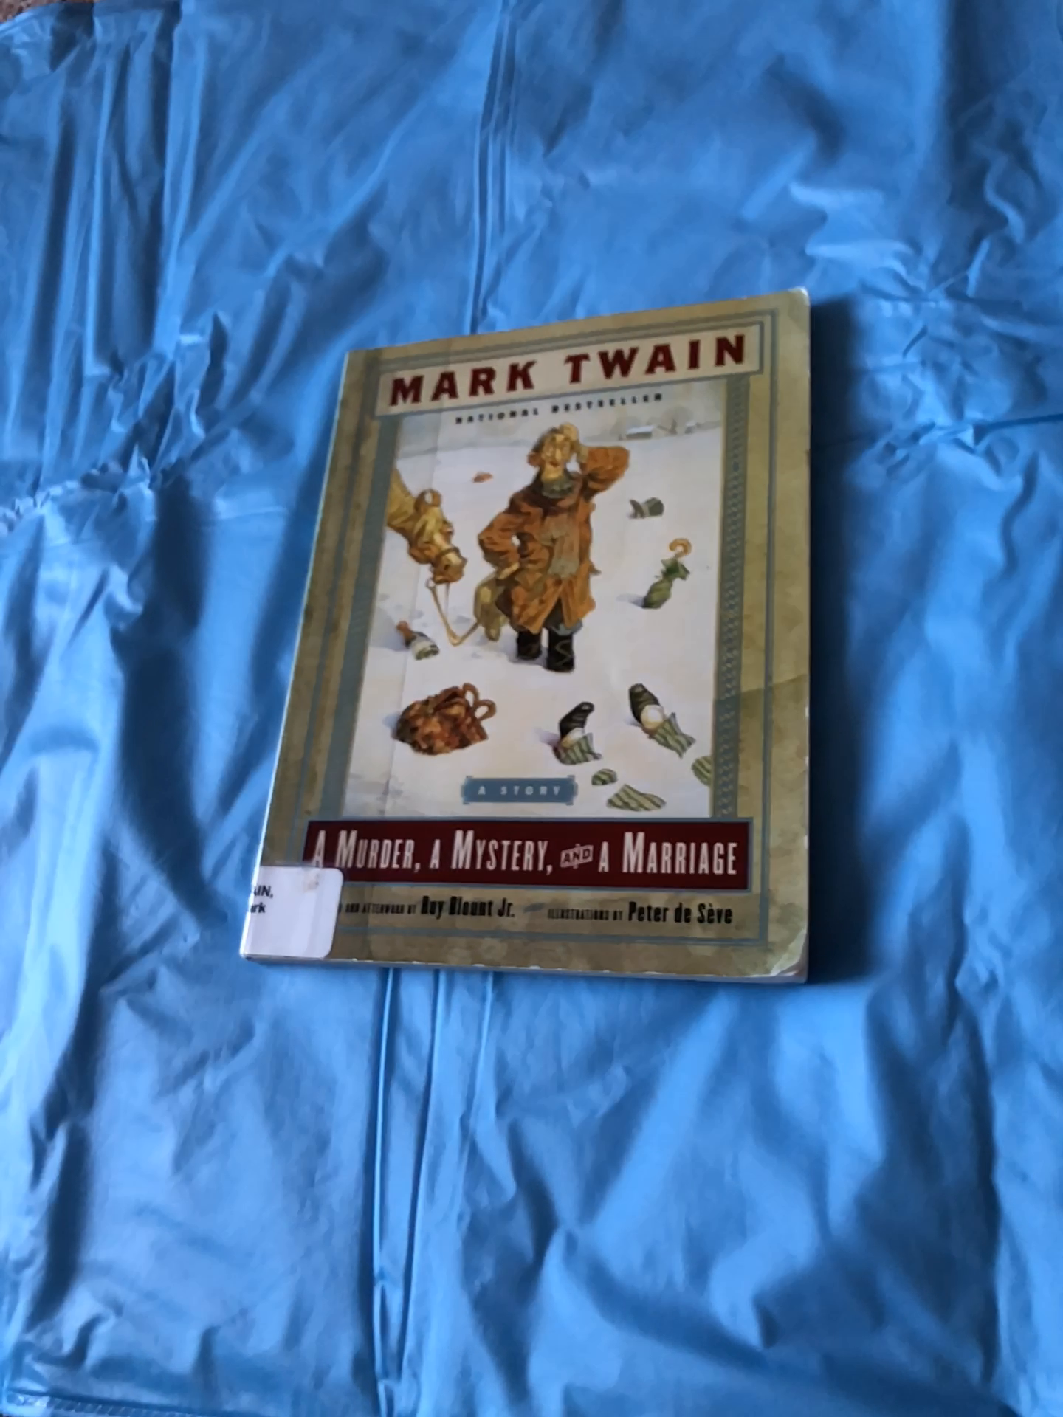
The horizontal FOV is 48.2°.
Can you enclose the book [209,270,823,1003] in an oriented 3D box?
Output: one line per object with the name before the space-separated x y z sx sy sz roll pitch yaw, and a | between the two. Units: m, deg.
book | 0.001 -0.027 0.344 0.160 0.020 0.210 -2 67 17
